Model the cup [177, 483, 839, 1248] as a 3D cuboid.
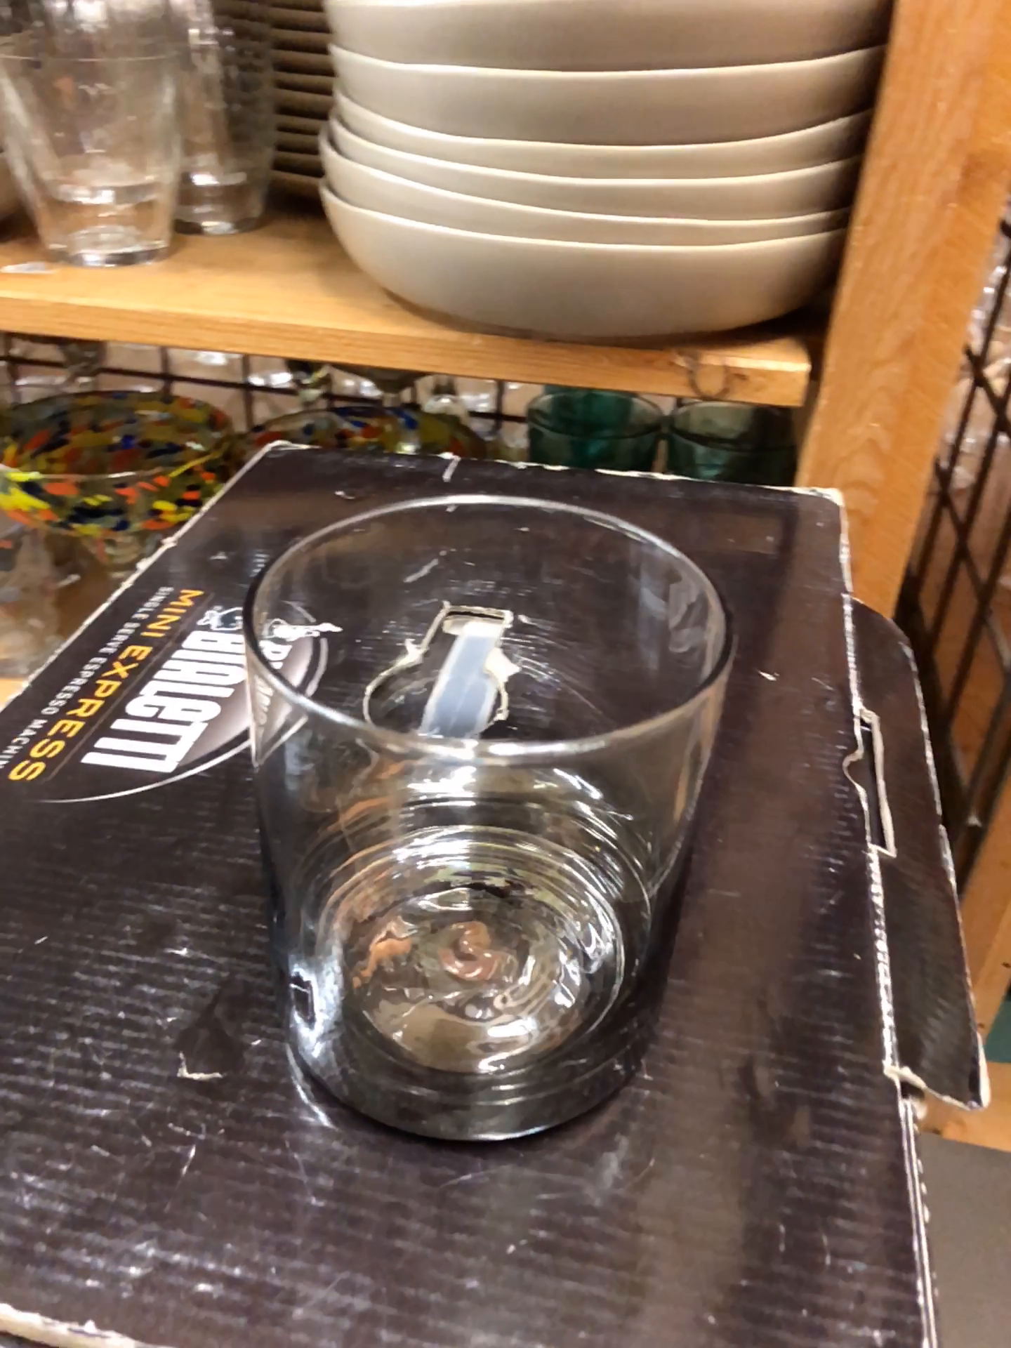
[{"bbox_3d":[-0.008,0.029,0.216,0.085,0.093,0.090,2,33,-1],"label":"cup"}]
